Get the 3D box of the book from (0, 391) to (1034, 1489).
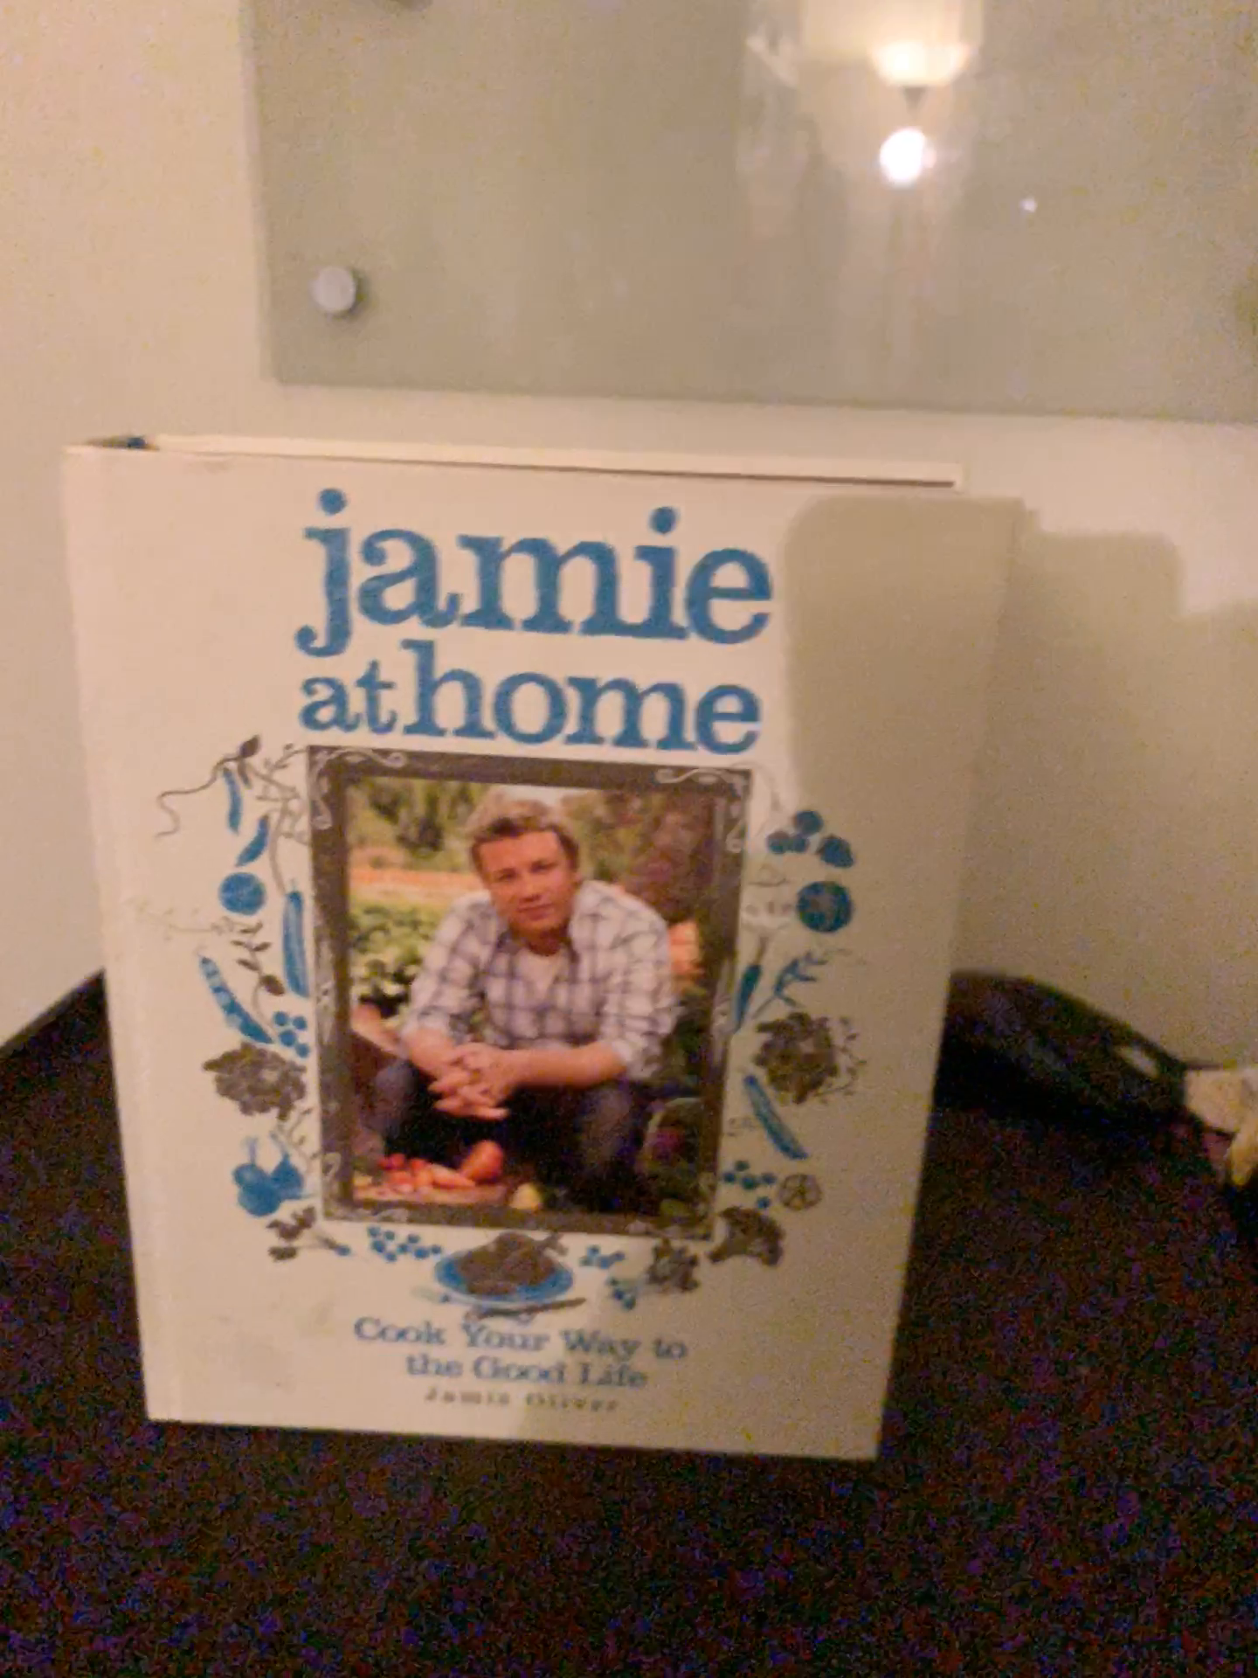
[{"bbox_3d":[-0.029,0.034,0.332,0.210,0.269,0.050,3,21,2],"label":"book"}]
